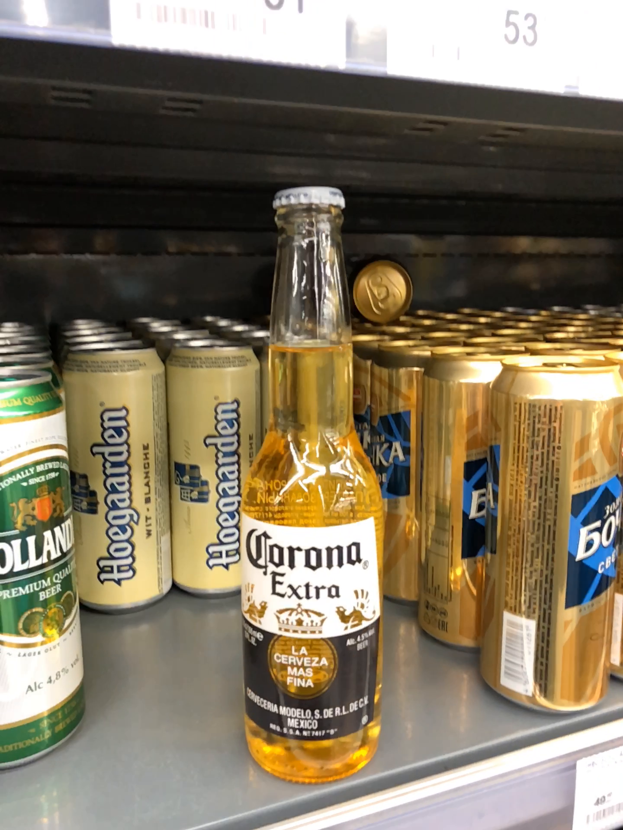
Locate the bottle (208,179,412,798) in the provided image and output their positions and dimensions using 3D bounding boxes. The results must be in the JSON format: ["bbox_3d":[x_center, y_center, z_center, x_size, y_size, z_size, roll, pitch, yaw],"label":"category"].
[{"bbox_3d":[0.002,0.031,0.286,0.070,0.238,0.060,1,10,4],"label":"bottle"}]
